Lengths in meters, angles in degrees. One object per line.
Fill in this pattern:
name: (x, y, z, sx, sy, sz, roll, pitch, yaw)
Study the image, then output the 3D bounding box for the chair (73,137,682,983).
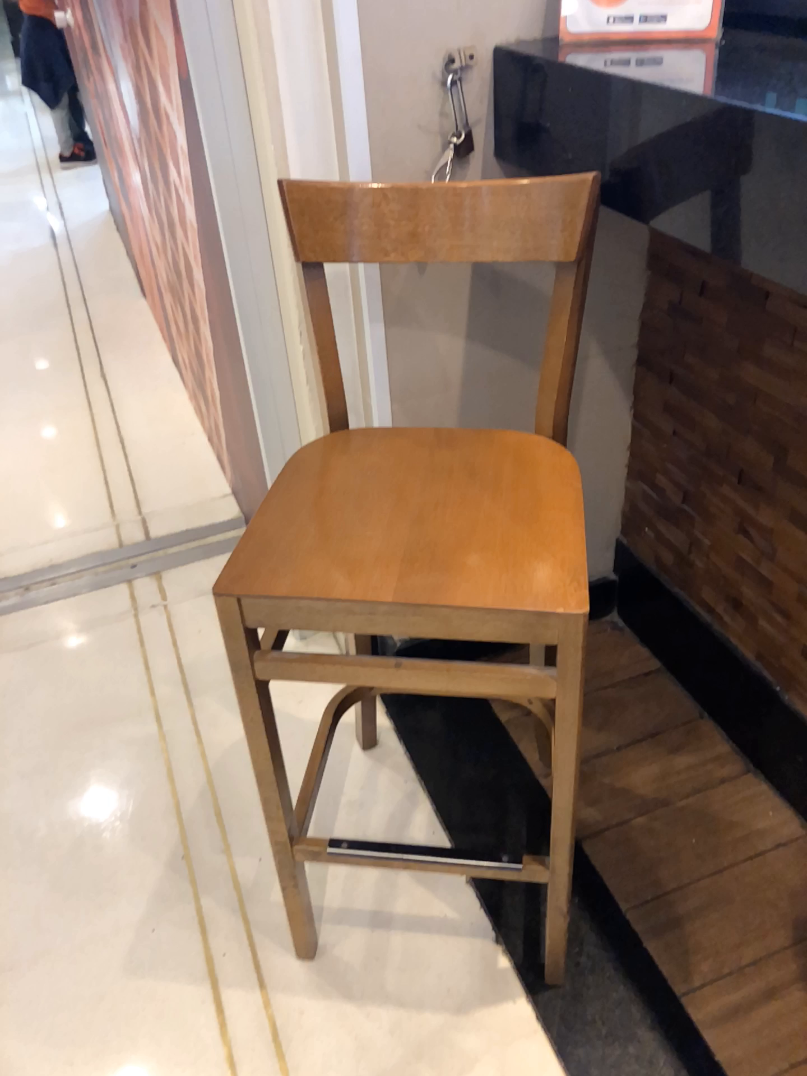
chair: (0.029, 0.062, 1.191, 0.480, 0.993, 0.534, 1, 36, 7)
